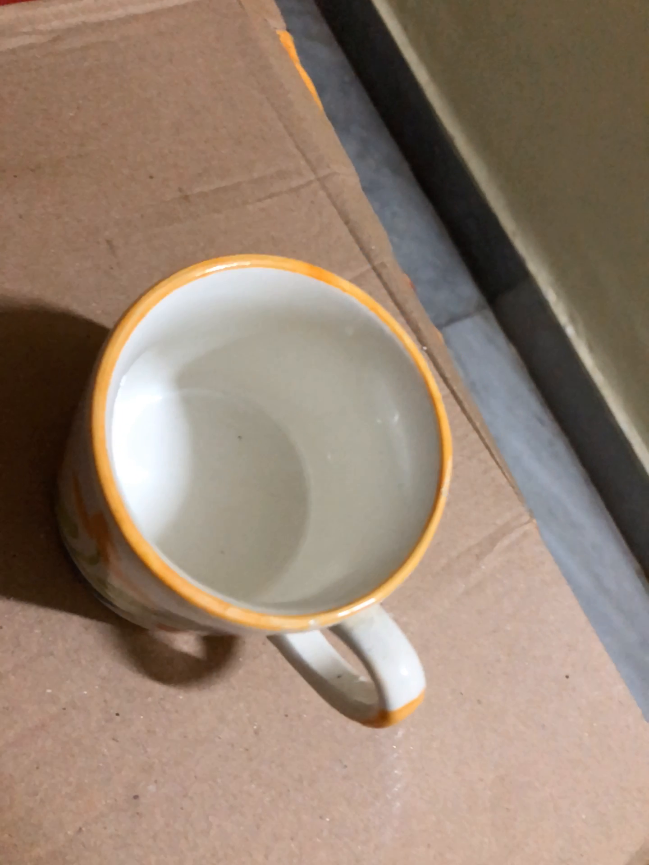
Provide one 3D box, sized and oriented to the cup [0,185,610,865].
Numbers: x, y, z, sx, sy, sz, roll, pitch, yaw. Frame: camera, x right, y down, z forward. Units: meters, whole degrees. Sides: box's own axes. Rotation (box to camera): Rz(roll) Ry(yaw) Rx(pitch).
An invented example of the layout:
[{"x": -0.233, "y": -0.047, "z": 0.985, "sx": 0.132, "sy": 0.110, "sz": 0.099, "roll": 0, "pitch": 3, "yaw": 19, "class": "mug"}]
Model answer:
[{"x": -0.017, "y": 0.026, "z": 0.177, "sx": 0.091, "sy": 0.080, "sz": 0.120, "roll": -35, "pitch": 89, "yaw": -33, "class": "cup"}]
